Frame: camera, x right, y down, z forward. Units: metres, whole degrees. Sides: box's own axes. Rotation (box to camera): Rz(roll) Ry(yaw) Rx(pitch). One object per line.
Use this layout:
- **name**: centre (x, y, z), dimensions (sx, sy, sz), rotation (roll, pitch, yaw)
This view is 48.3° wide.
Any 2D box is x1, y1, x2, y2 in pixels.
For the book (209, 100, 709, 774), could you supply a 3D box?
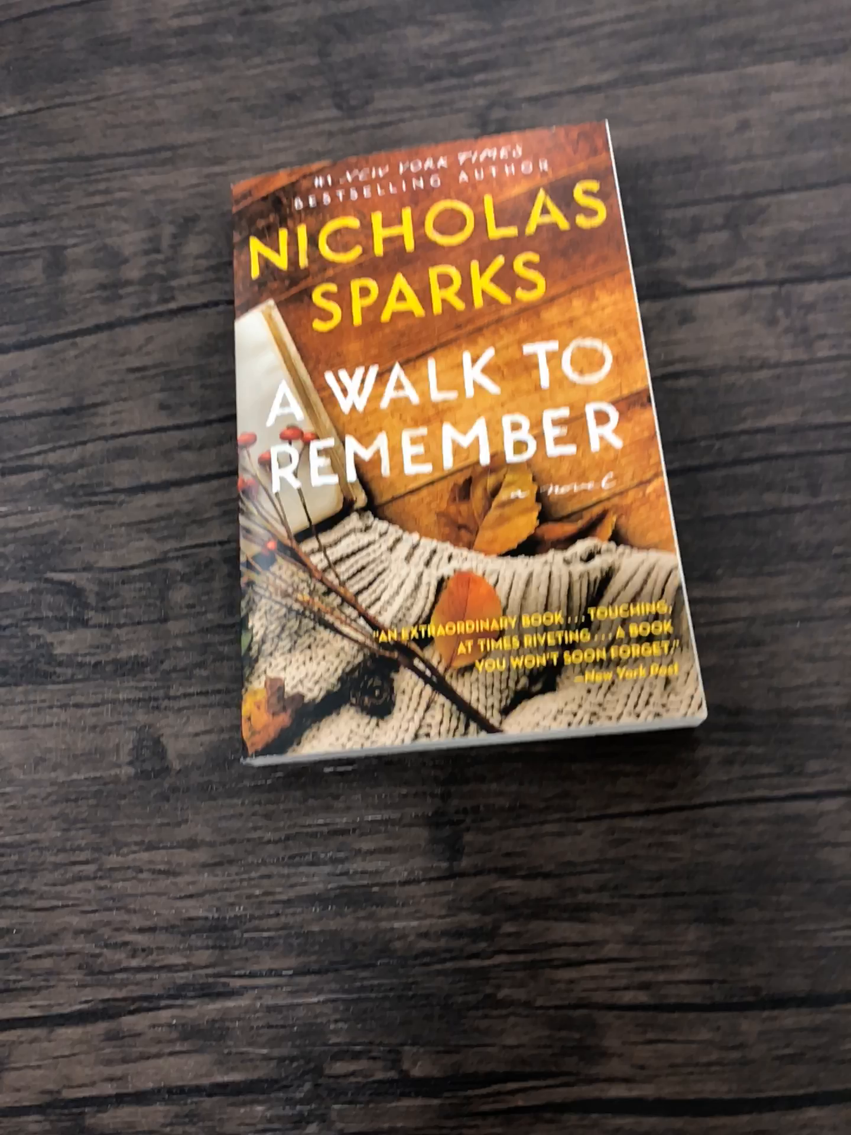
- **book**: centre (0.002, -0.045, 0.292), dimensions (0.132, 0.020, 0.200), rotation (-7, 72, 6)
